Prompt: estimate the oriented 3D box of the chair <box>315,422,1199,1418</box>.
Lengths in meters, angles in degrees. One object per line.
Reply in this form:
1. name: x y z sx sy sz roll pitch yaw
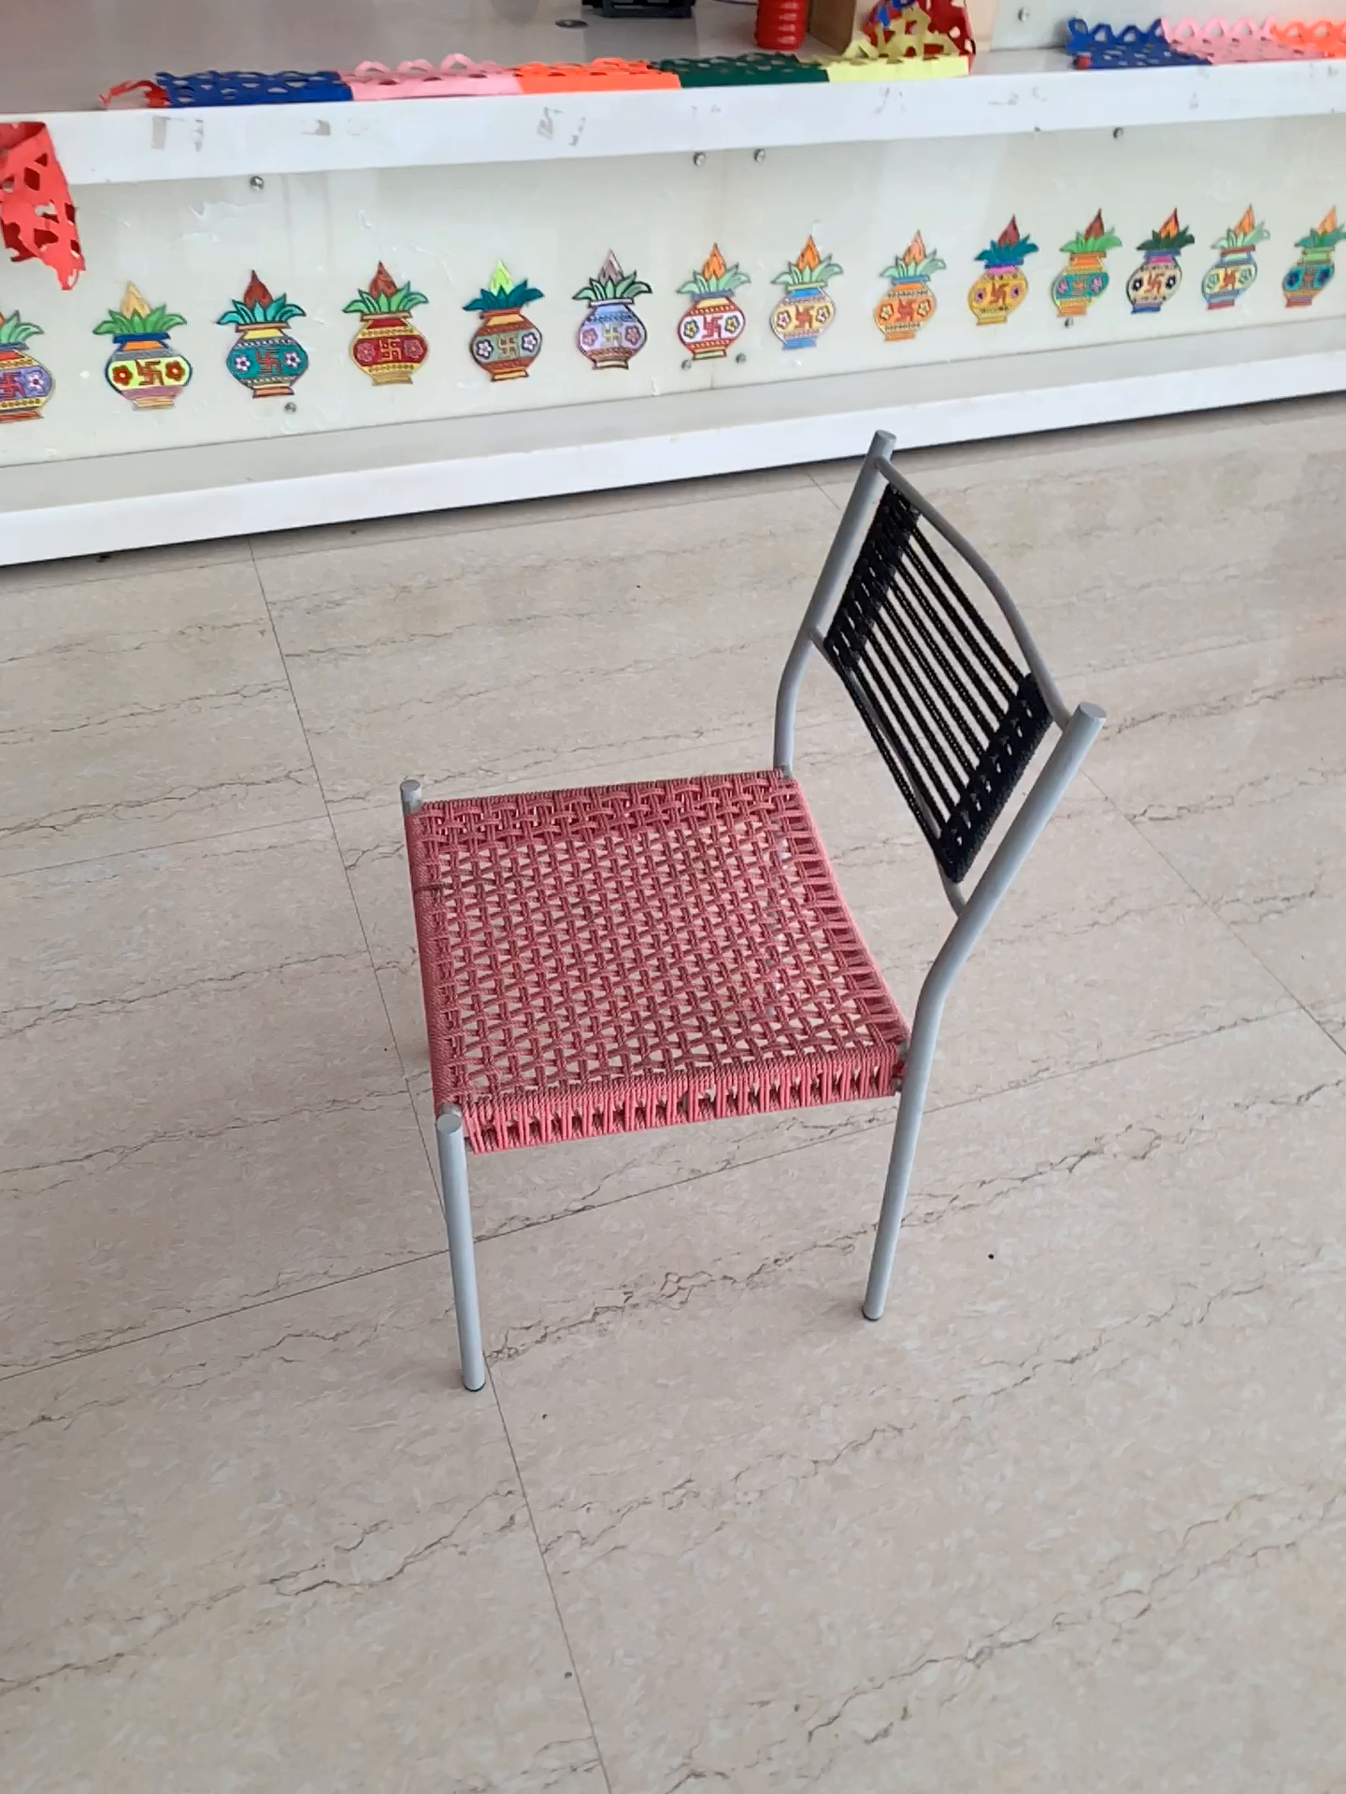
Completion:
1. chair: 0.006 0.022 1.328 0.580 0.734 0.534 -7 43 -11
